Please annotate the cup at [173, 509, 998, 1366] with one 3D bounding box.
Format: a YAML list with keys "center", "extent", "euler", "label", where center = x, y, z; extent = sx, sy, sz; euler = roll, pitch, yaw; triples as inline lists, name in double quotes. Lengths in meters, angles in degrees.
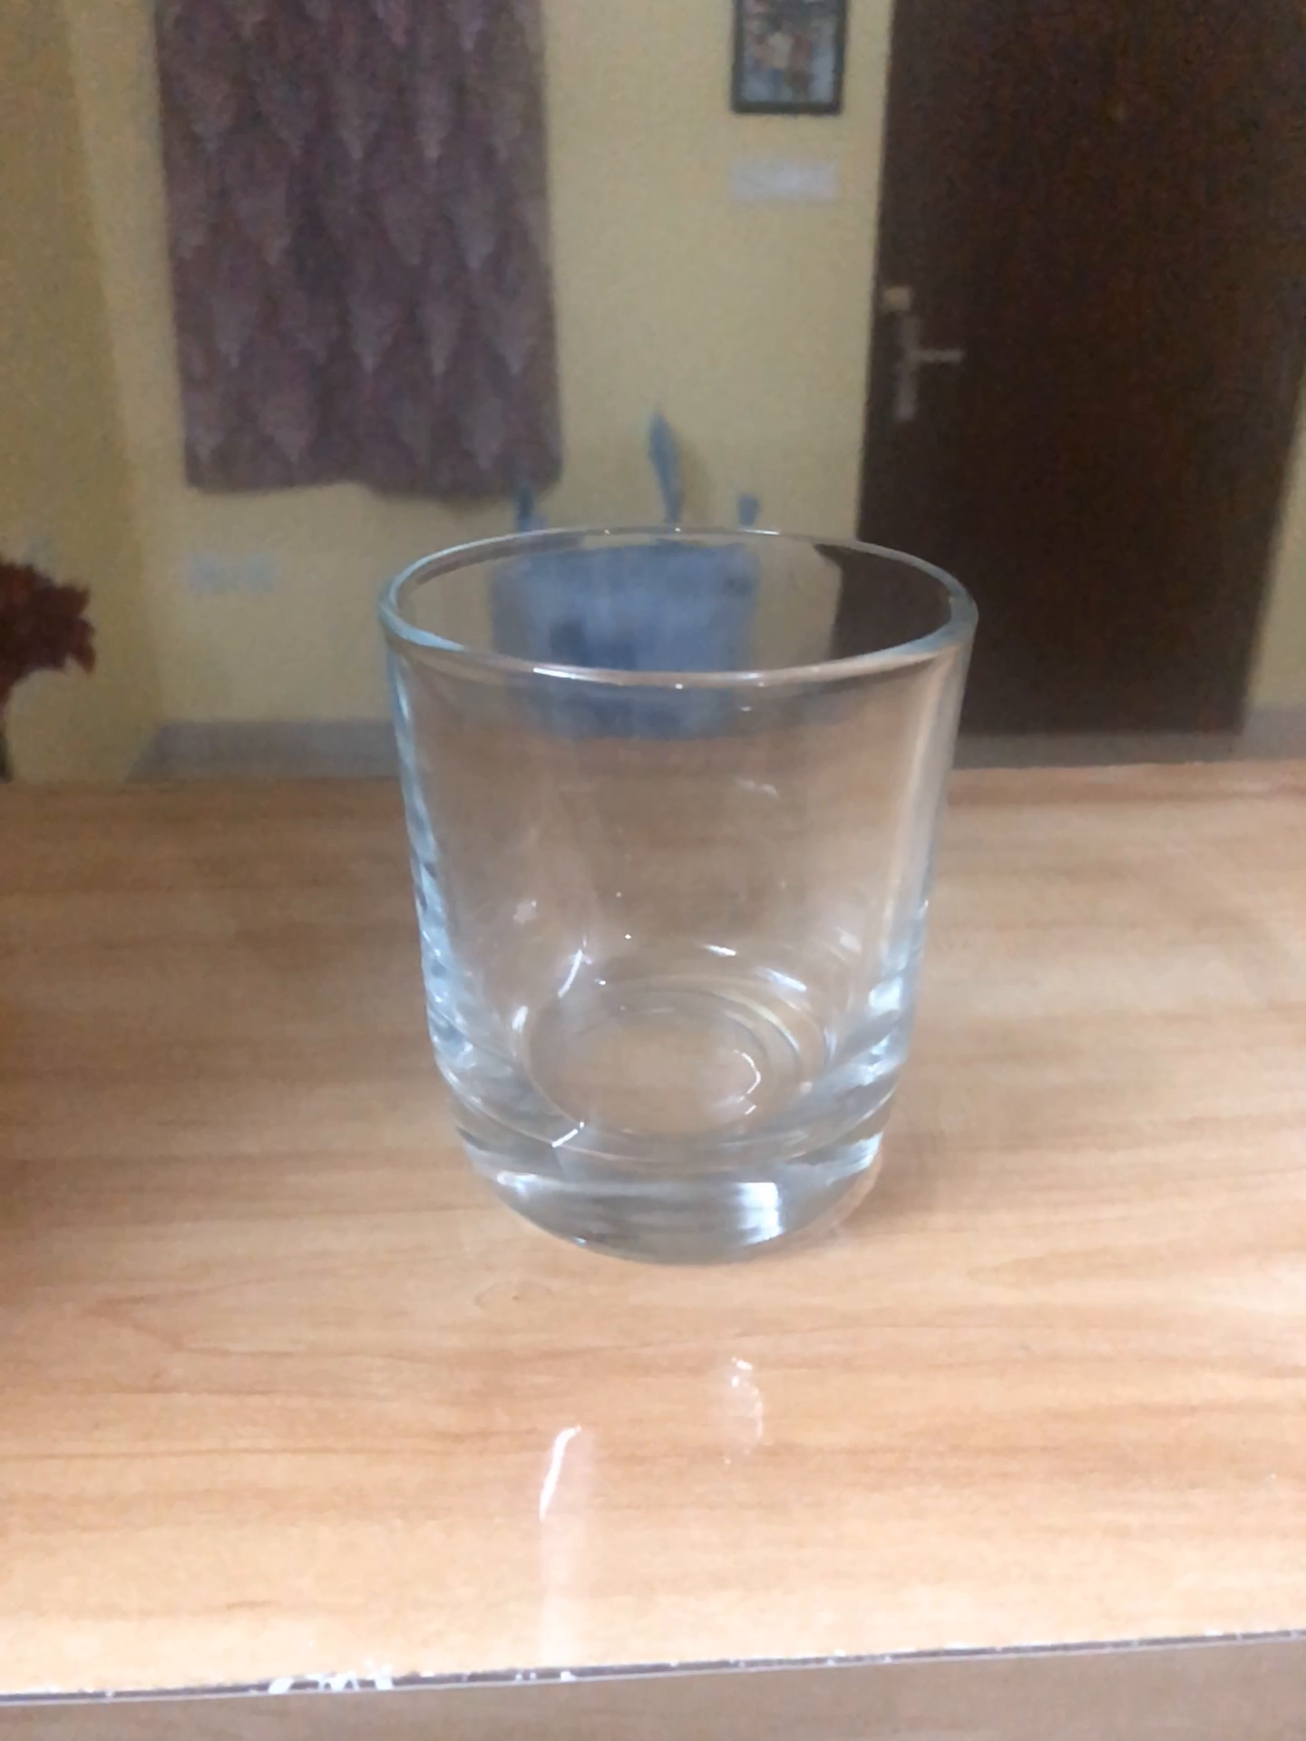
- center: [-0.004, 0.001, 0.222]
  extent: [0.090, 0.090, 0.080]
  euler: [10, 26, 19]
  label: "cup"
